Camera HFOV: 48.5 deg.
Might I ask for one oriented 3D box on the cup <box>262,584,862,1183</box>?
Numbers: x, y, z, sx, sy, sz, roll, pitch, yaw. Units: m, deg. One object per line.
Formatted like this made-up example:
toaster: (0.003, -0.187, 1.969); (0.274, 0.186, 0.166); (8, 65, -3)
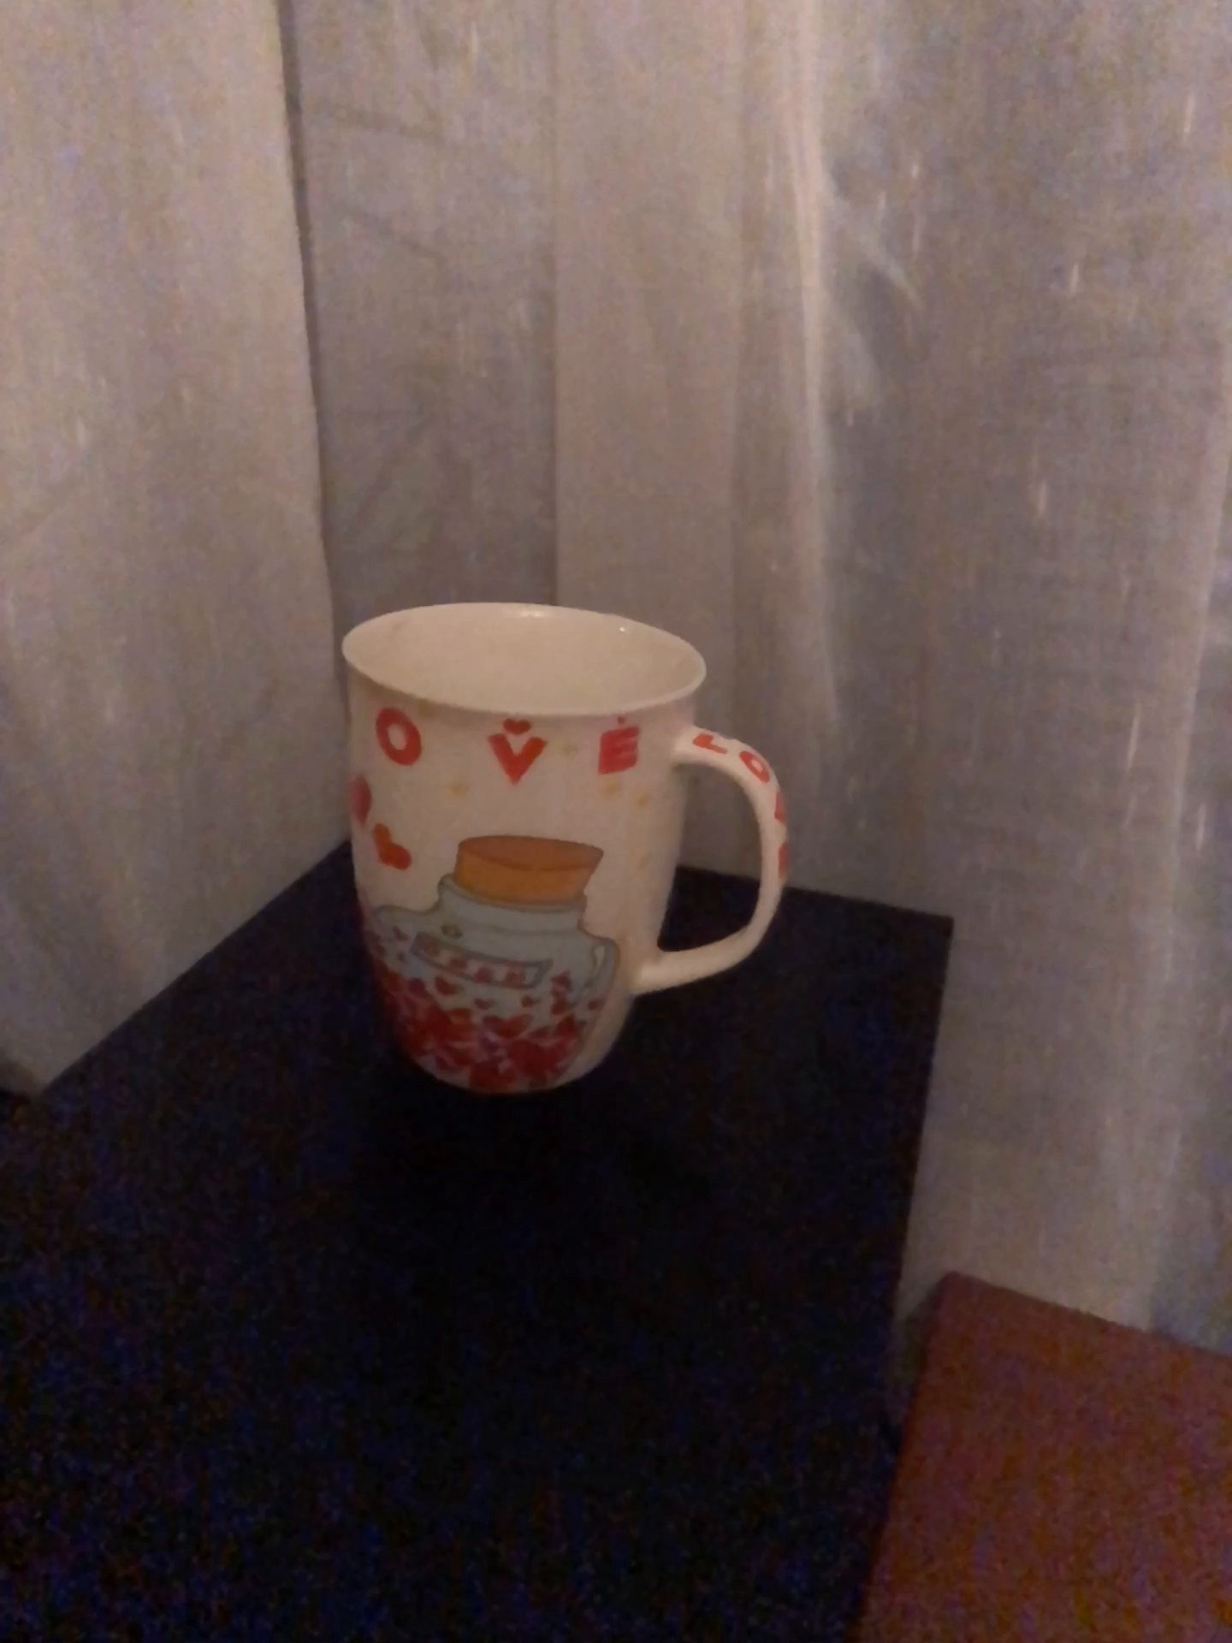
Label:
cup: (-0.009, 0.008, 0.316); (0.111, 0.098, 0.079); (9, 23, 15)
